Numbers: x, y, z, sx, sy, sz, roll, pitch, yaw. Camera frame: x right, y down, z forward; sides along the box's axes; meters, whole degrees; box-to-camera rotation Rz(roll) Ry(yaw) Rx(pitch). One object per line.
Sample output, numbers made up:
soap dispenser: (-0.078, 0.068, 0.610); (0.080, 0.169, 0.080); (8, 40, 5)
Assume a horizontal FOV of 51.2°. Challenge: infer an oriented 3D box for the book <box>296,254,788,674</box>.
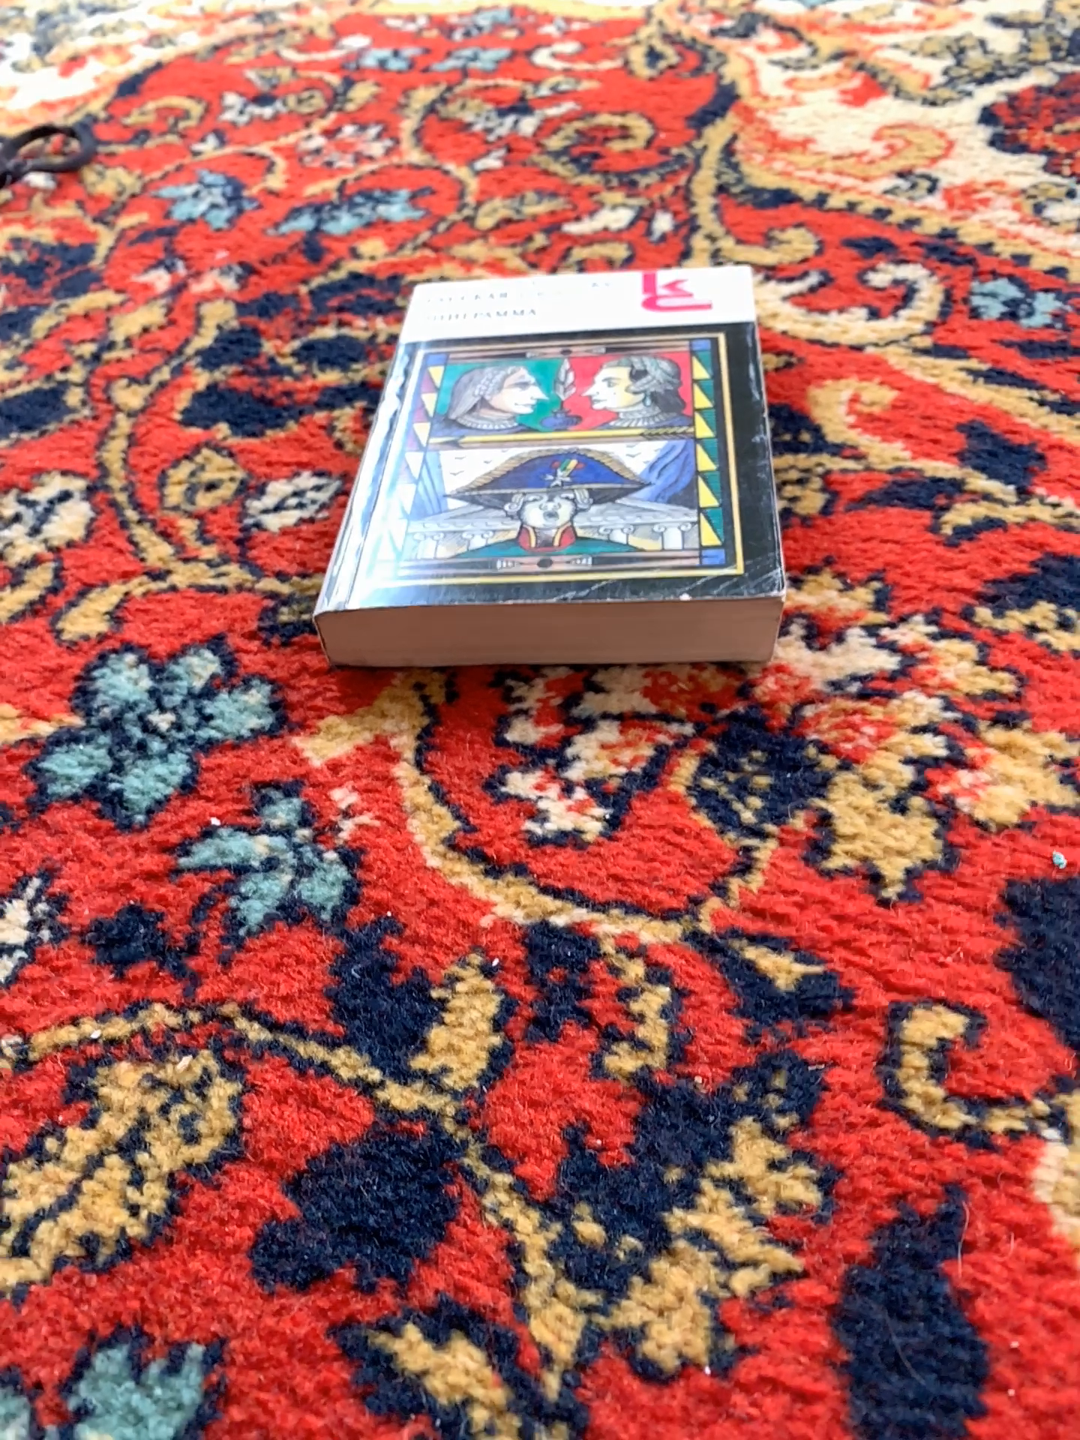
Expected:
book: (0.007, -0.079, 0.313); (0.110, 0.022, 0.164); (-1, 46, 8)
